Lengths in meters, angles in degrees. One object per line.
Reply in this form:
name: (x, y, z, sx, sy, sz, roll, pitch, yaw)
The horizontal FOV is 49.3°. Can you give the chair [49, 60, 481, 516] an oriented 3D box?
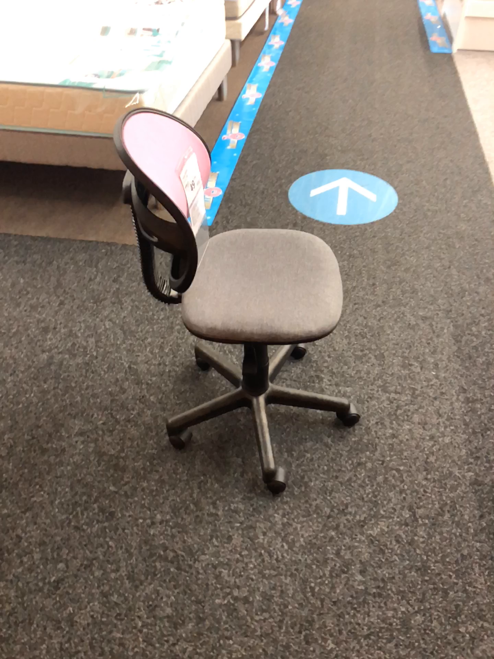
chair: (0.003, -0.088, 1.222, 0.600, 0.776, 0.603, -5, 43, -5)
